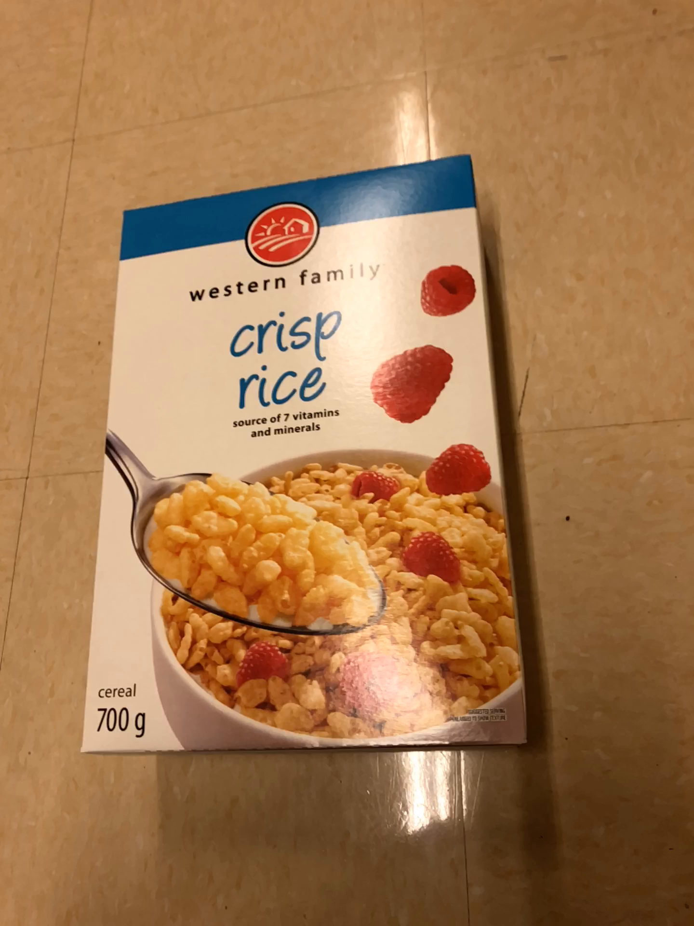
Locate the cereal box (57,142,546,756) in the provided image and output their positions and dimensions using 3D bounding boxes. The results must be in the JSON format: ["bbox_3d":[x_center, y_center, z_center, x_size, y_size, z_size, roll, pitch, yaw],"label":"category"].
[{"bbox_3d":[-0.023,-0.007,0.437,0.230,0.080,0.320,-6,70,12],"label":"cereal box"}]
